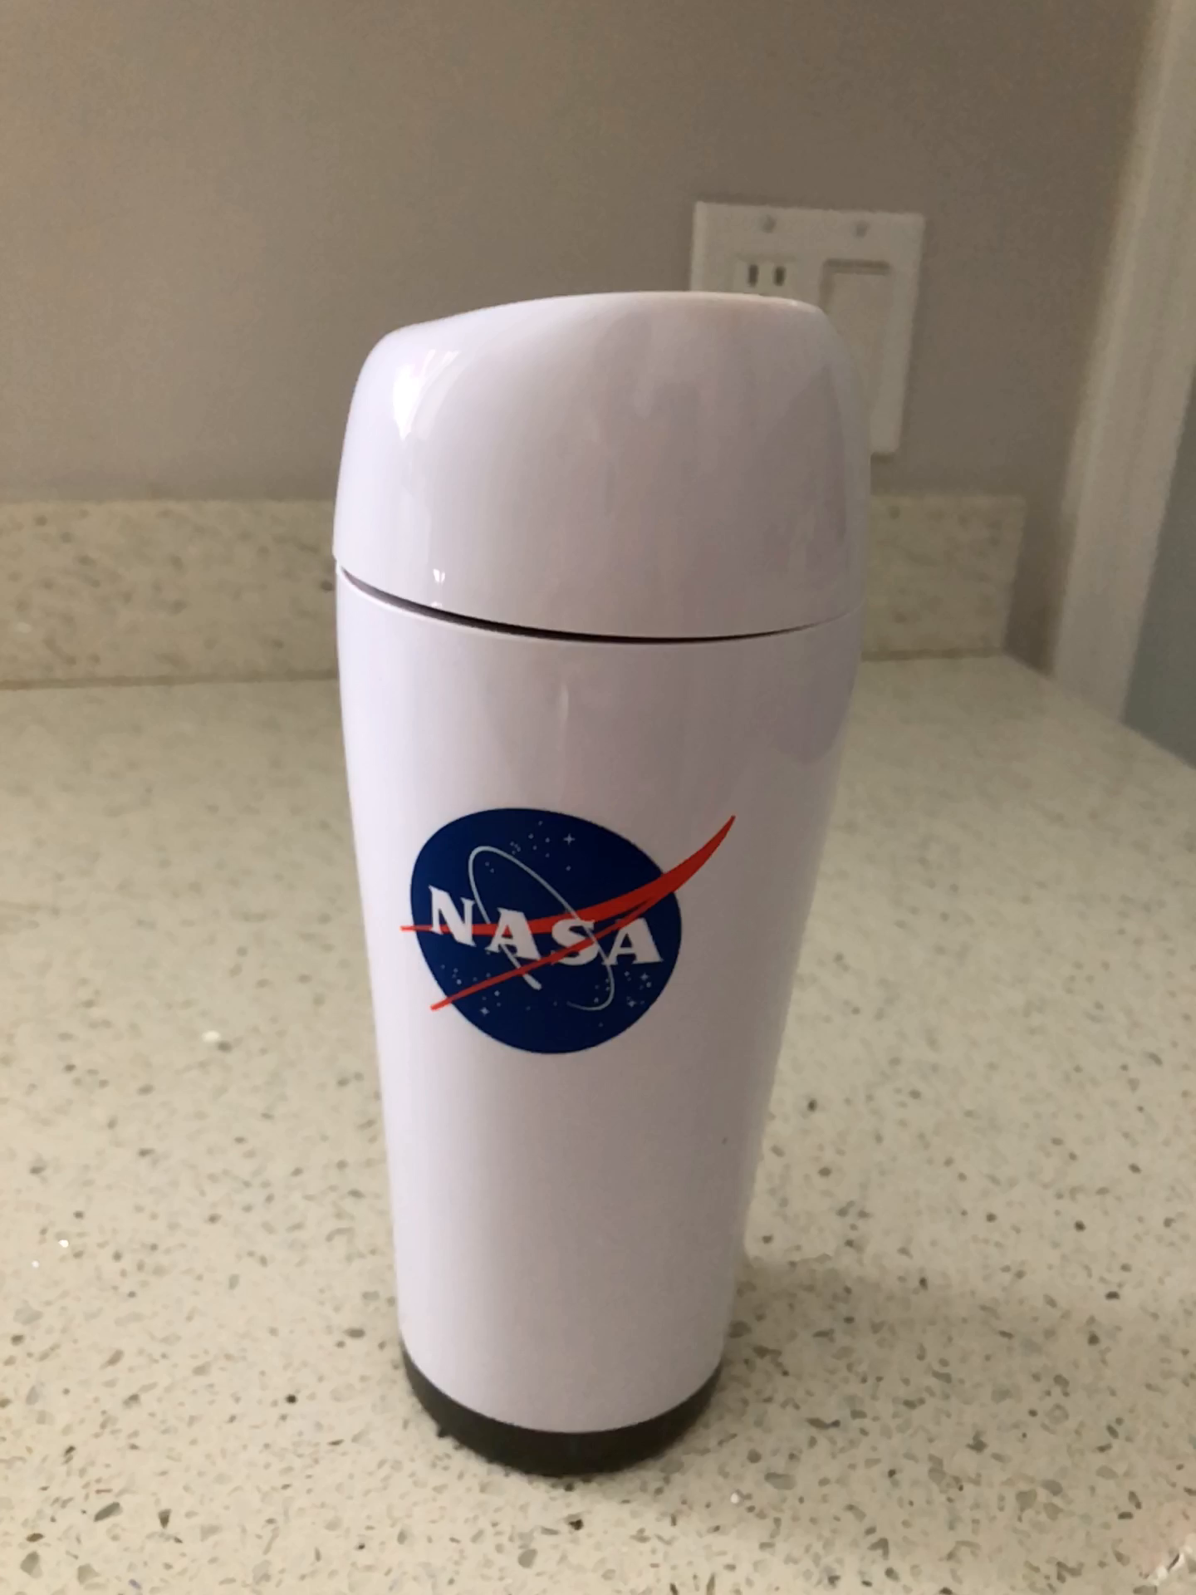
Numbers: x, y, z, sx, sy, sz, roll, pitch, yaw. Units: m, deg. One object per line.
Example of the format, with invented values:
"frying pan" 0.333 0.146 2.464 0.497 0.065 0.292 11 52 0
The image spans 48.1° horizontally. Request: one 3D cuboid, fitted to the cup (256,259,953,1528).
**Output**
"cup" 0.003 0.013 0.220 0.078 0.182 0.081 2 24 -1
